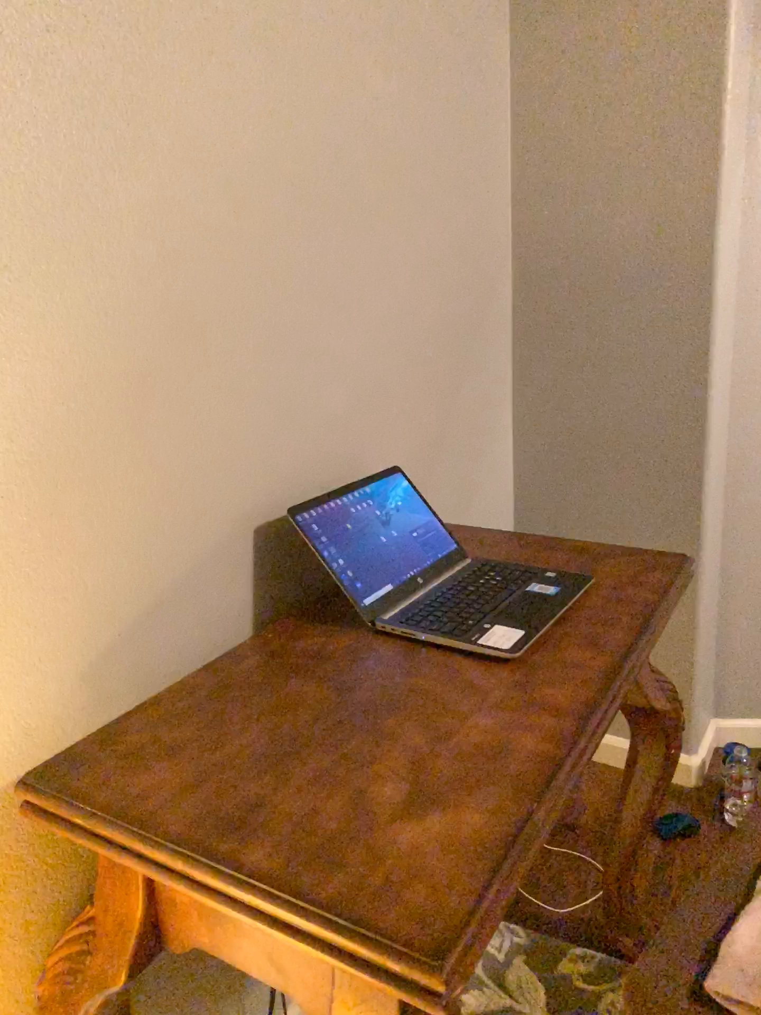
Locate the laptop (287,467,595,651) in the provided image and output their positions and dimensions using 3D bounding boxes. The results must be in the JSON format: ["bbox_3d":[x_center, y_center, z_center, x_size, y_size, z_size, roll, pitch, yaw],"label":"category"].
[{"bbox_3d":[0.104,0.057,1.225,0.367,0.152,0.318,7,18,32],"label":"laptop"}]
